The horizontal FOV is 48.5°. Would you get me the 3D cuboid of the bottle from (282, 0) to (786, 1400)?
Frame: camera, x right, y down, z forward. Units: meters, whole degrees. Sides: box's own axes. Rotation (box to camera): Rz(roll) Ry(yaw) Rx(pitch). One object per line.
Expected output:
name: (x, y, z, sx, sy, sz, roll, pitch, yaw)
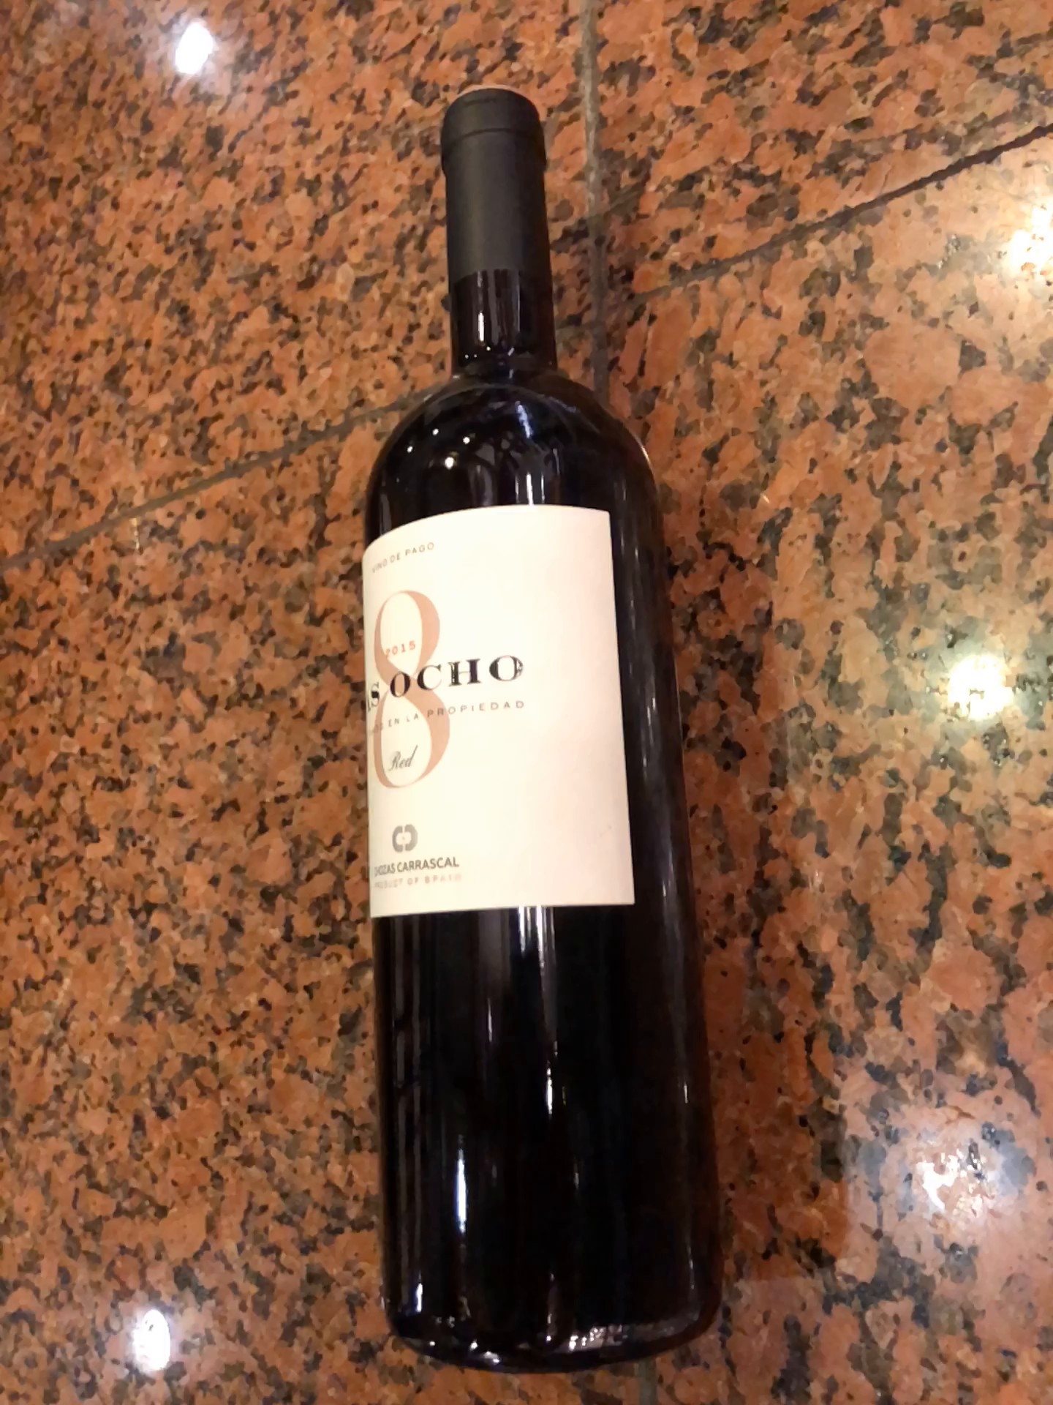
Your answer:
bottle: (-0.005, -0.030, 0.296, 0.080, 0.070, 0.340, -13, 75, 37)
